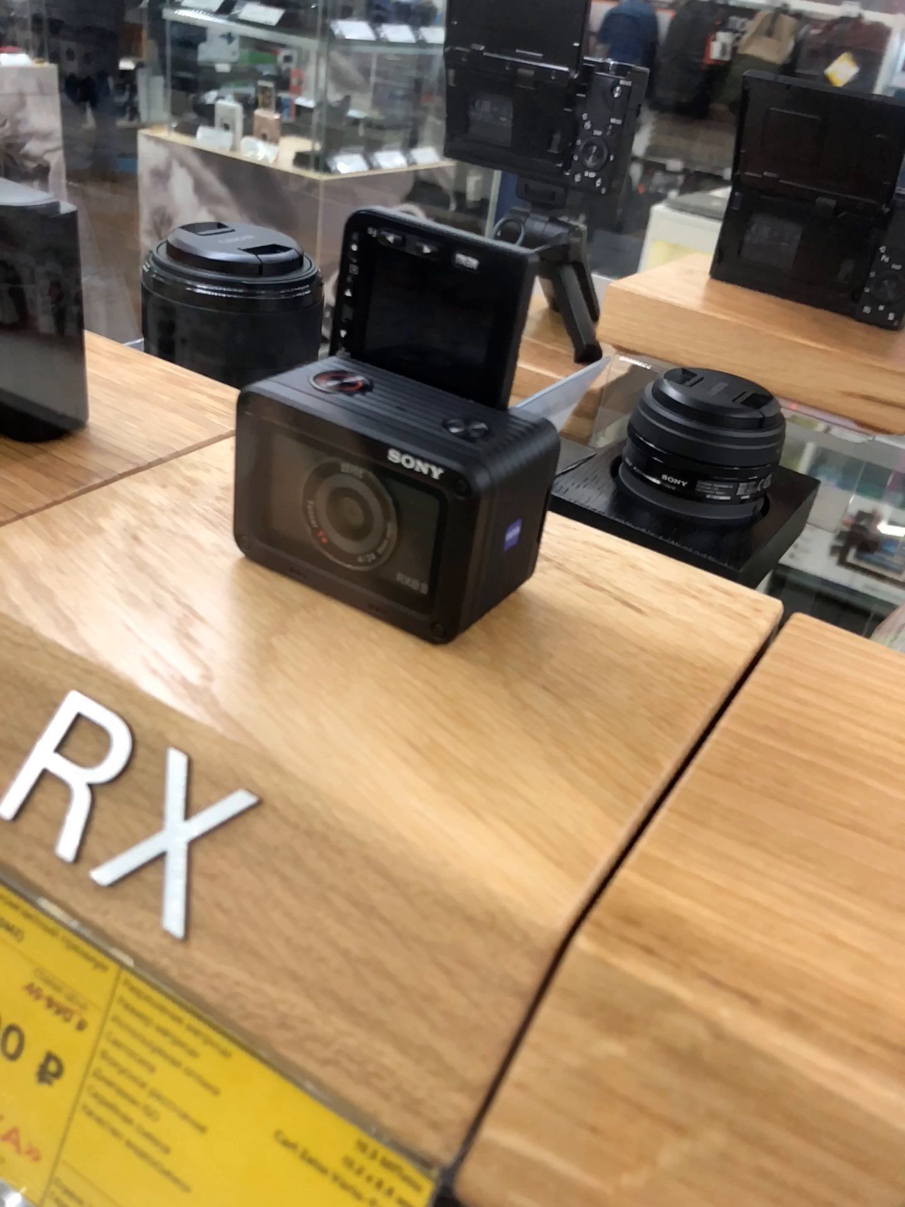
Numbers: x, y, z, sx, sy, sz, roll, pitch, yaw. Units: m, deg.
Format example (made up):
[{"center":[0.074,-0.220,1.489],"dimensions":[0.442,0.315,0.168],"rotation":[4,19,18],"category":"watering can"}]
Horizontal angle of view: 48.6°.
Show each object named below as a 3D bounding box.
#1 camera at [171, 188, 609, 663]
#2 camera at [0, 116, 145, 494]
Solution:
[{"center":[-0.014,-0.039,0.199],"dimensions":[0.062,0.067,0.050],"rotation":[24,34,23],"category":"camera"},{"center":[-0.136,-0.083,0.267],"dimensions":[0.105,0.067,0.041],"rotation":[24,35,23],"category":"camera"}]
